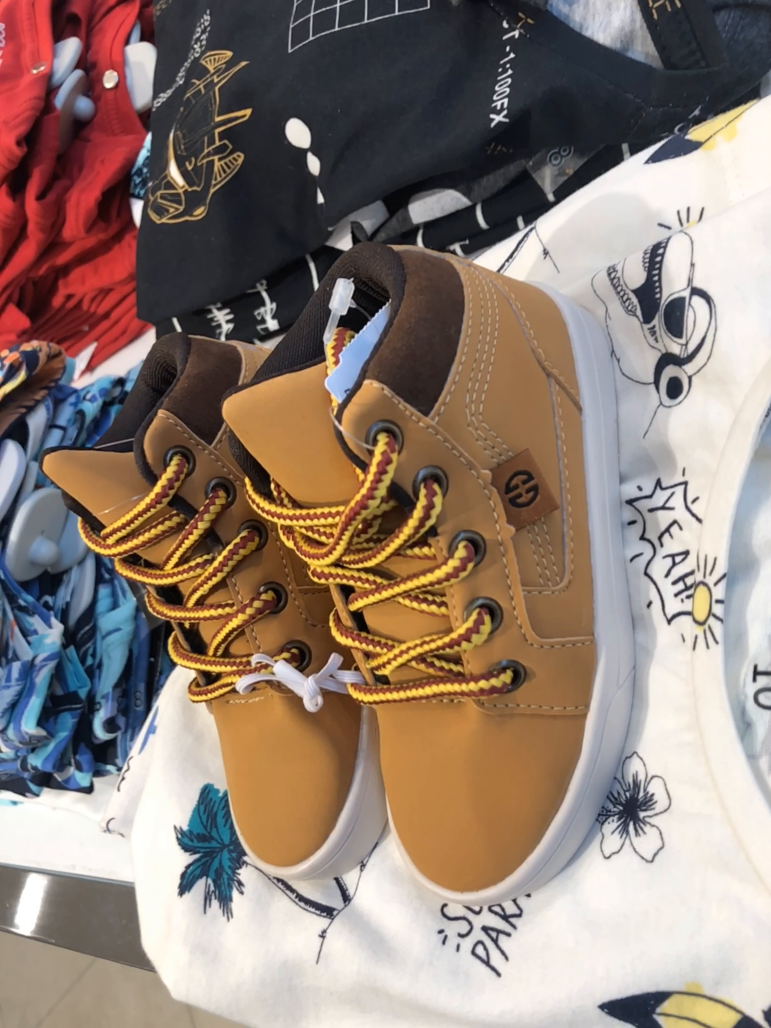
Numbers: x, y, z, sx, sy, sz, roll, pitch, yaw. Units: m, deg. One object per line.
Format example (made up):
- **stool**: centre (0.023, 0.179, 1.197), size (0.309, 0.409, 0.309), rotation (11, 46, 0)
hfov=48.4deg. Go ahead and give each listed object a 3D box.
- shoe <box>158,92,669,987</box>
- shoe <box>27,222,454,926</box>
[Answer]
- **shoe**: centre (0.015, 0.008, 0.215), size (0.070, 0.090, 0.170), rotation (-5, 74, 43)
- **shoe**: centre (-0.040, 0.020, 0.257), size (0.070, 0.090, 0.170), rotation (-17, 68, 39)
